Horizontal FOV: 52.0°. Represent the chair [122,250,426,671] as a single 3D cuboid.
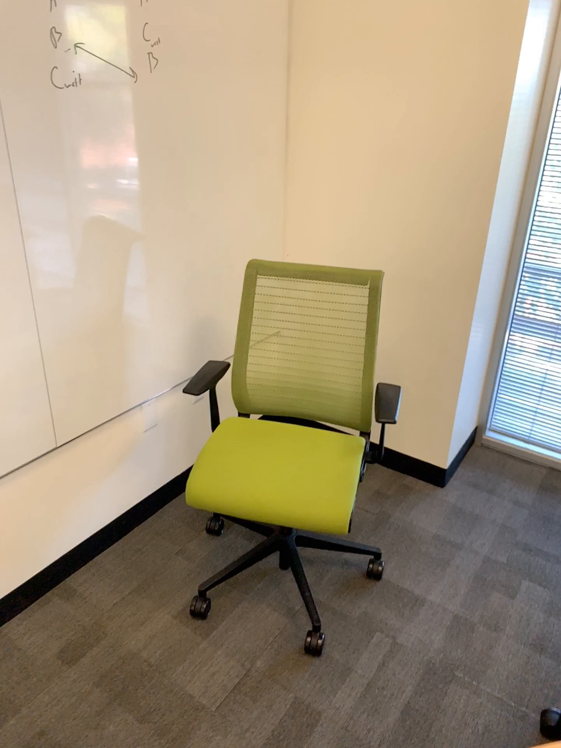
[{"bbox_3d":[0.042,0.207,1.944,0.701,0.994,0.844,8,27,14],"label":"chair"}]
